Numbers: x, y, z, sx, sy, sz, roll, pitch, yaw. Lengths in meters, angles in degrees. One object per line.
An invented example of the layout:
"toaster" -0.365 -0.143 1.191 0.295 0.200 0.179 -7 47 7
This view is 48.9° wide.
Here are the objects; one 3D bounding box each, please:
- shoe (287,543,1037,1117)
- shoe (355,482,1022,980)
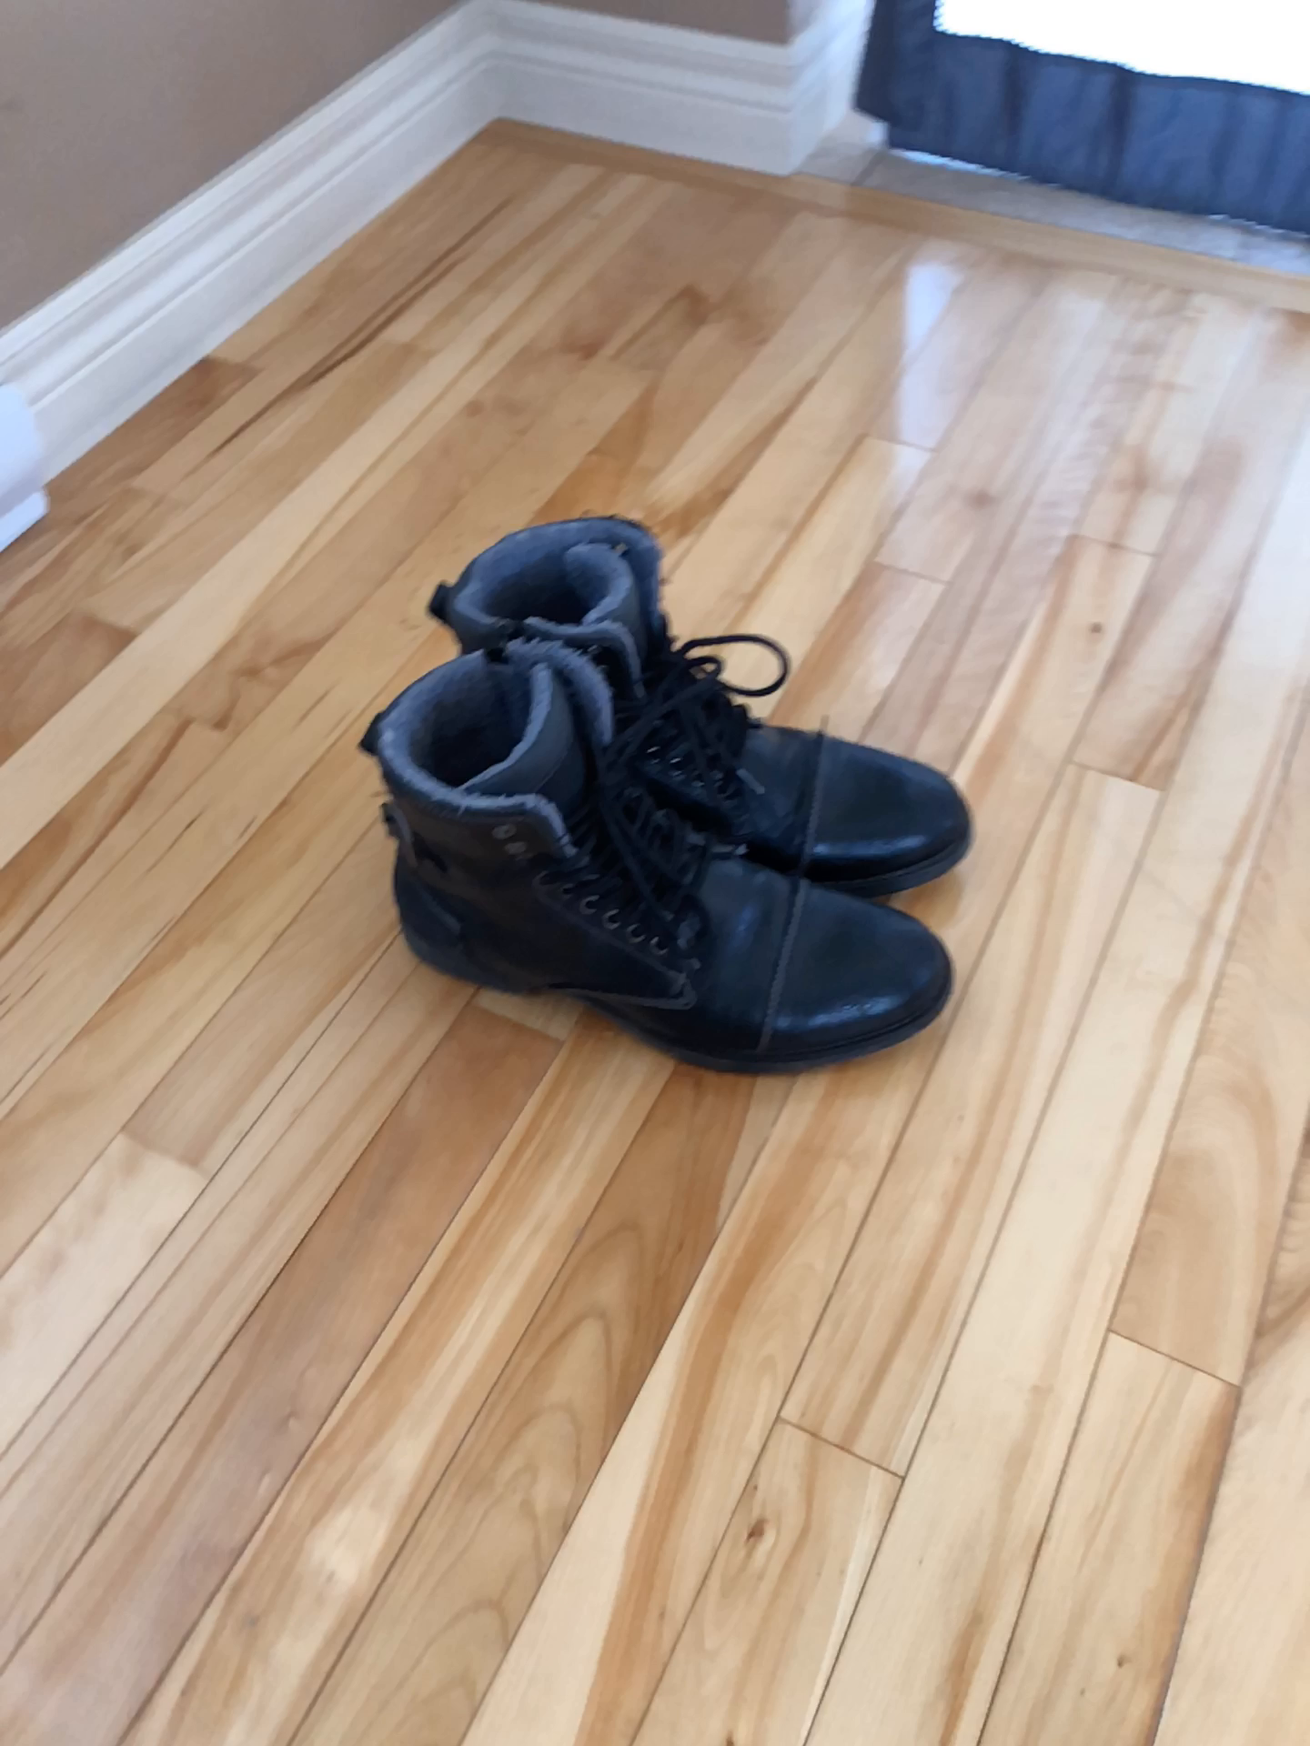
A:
"shoe" 0.009 -0.017 0.675 0.290 0.199 0.120 10 52 11
"shoe" 0.022 -0.073 0.765 0.300 0.199 0.120 9 52 9
